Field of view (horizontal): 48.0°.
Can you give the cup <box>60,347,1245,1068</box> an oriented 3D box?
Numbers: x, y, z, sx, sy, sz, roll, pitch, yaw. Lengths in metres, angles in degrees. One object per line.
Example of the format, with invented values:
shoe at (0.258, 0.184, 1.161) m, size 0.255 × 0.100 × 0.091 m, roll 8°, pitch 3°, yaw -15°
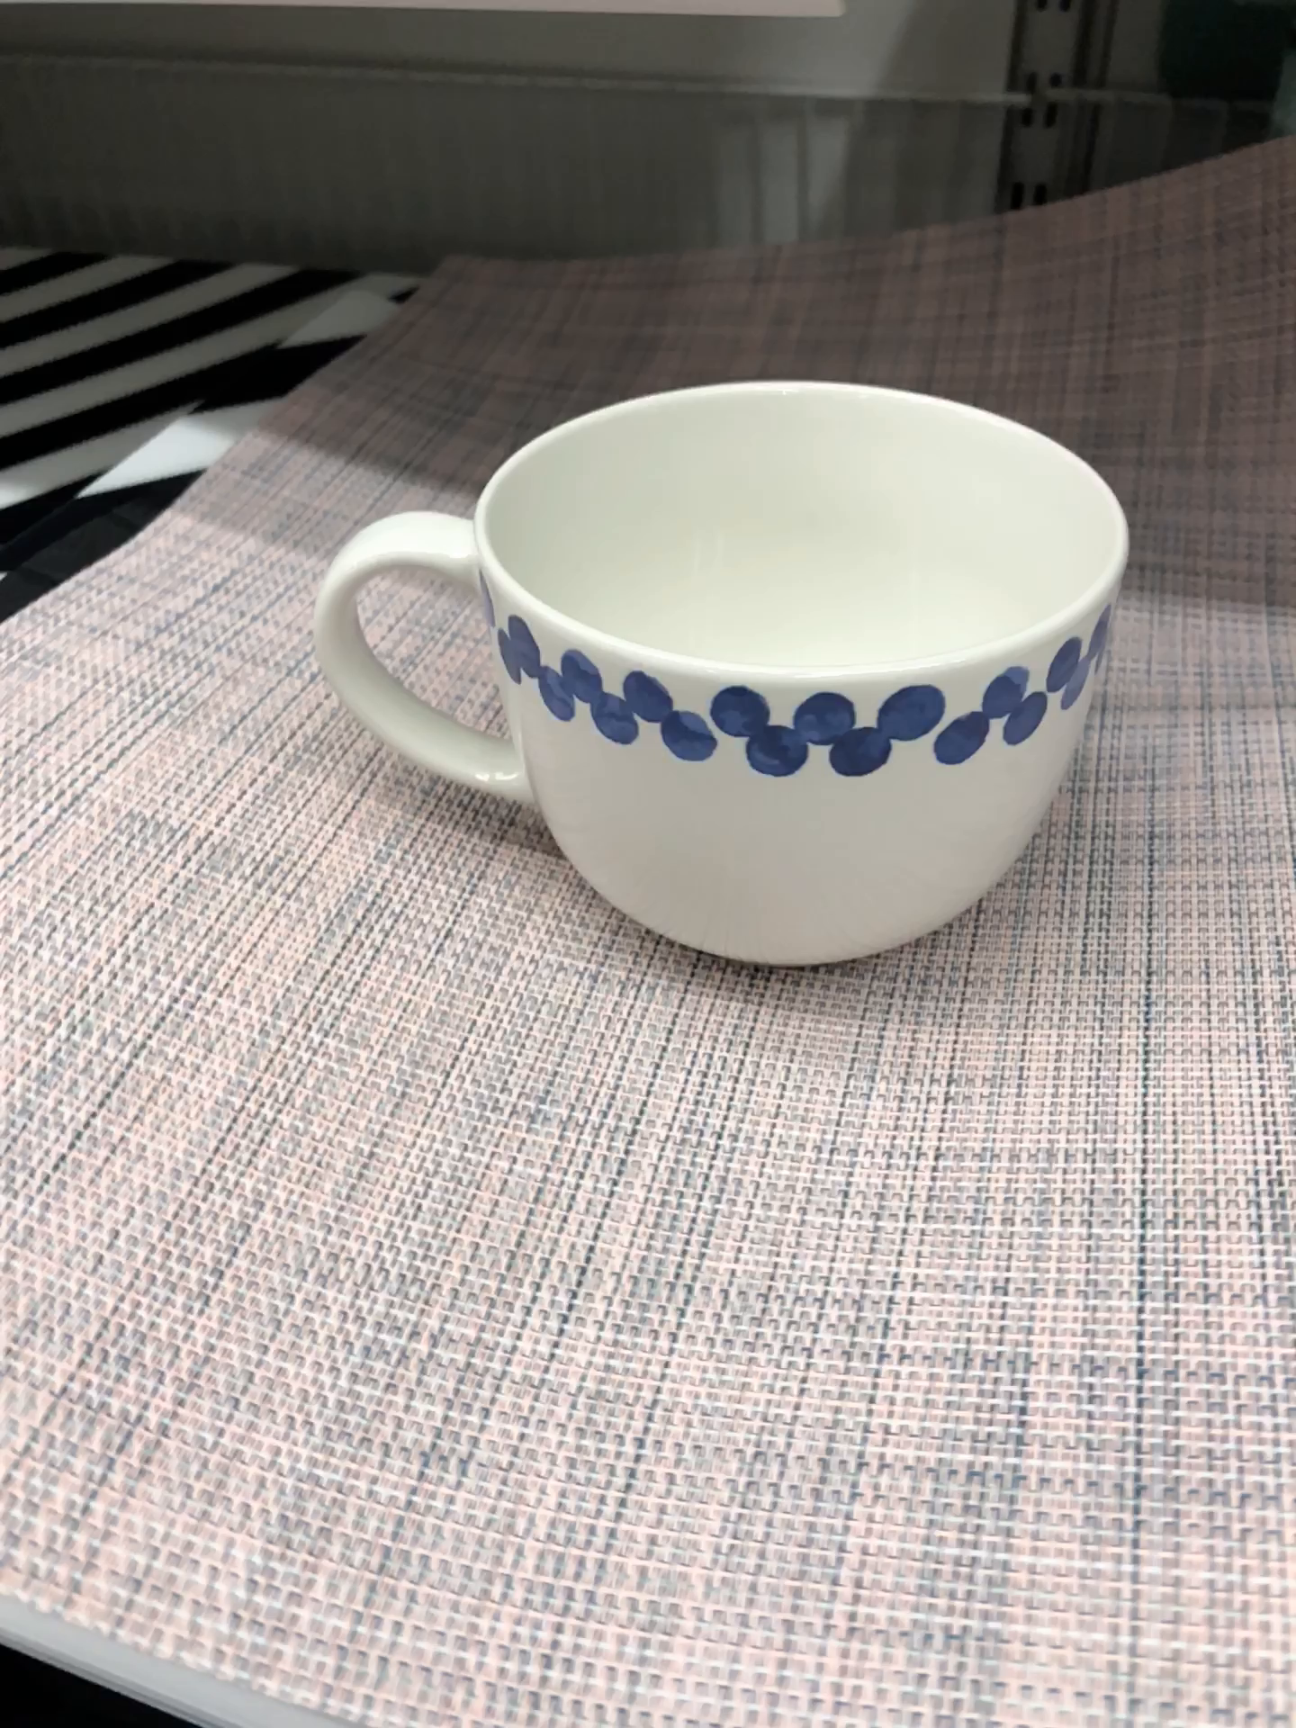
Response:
cup at (0.006, -0.035, 0.243) m, size 0.150 × 0.060 × 0.110 m, roll 5°, pitch 39°, yaw 8°
